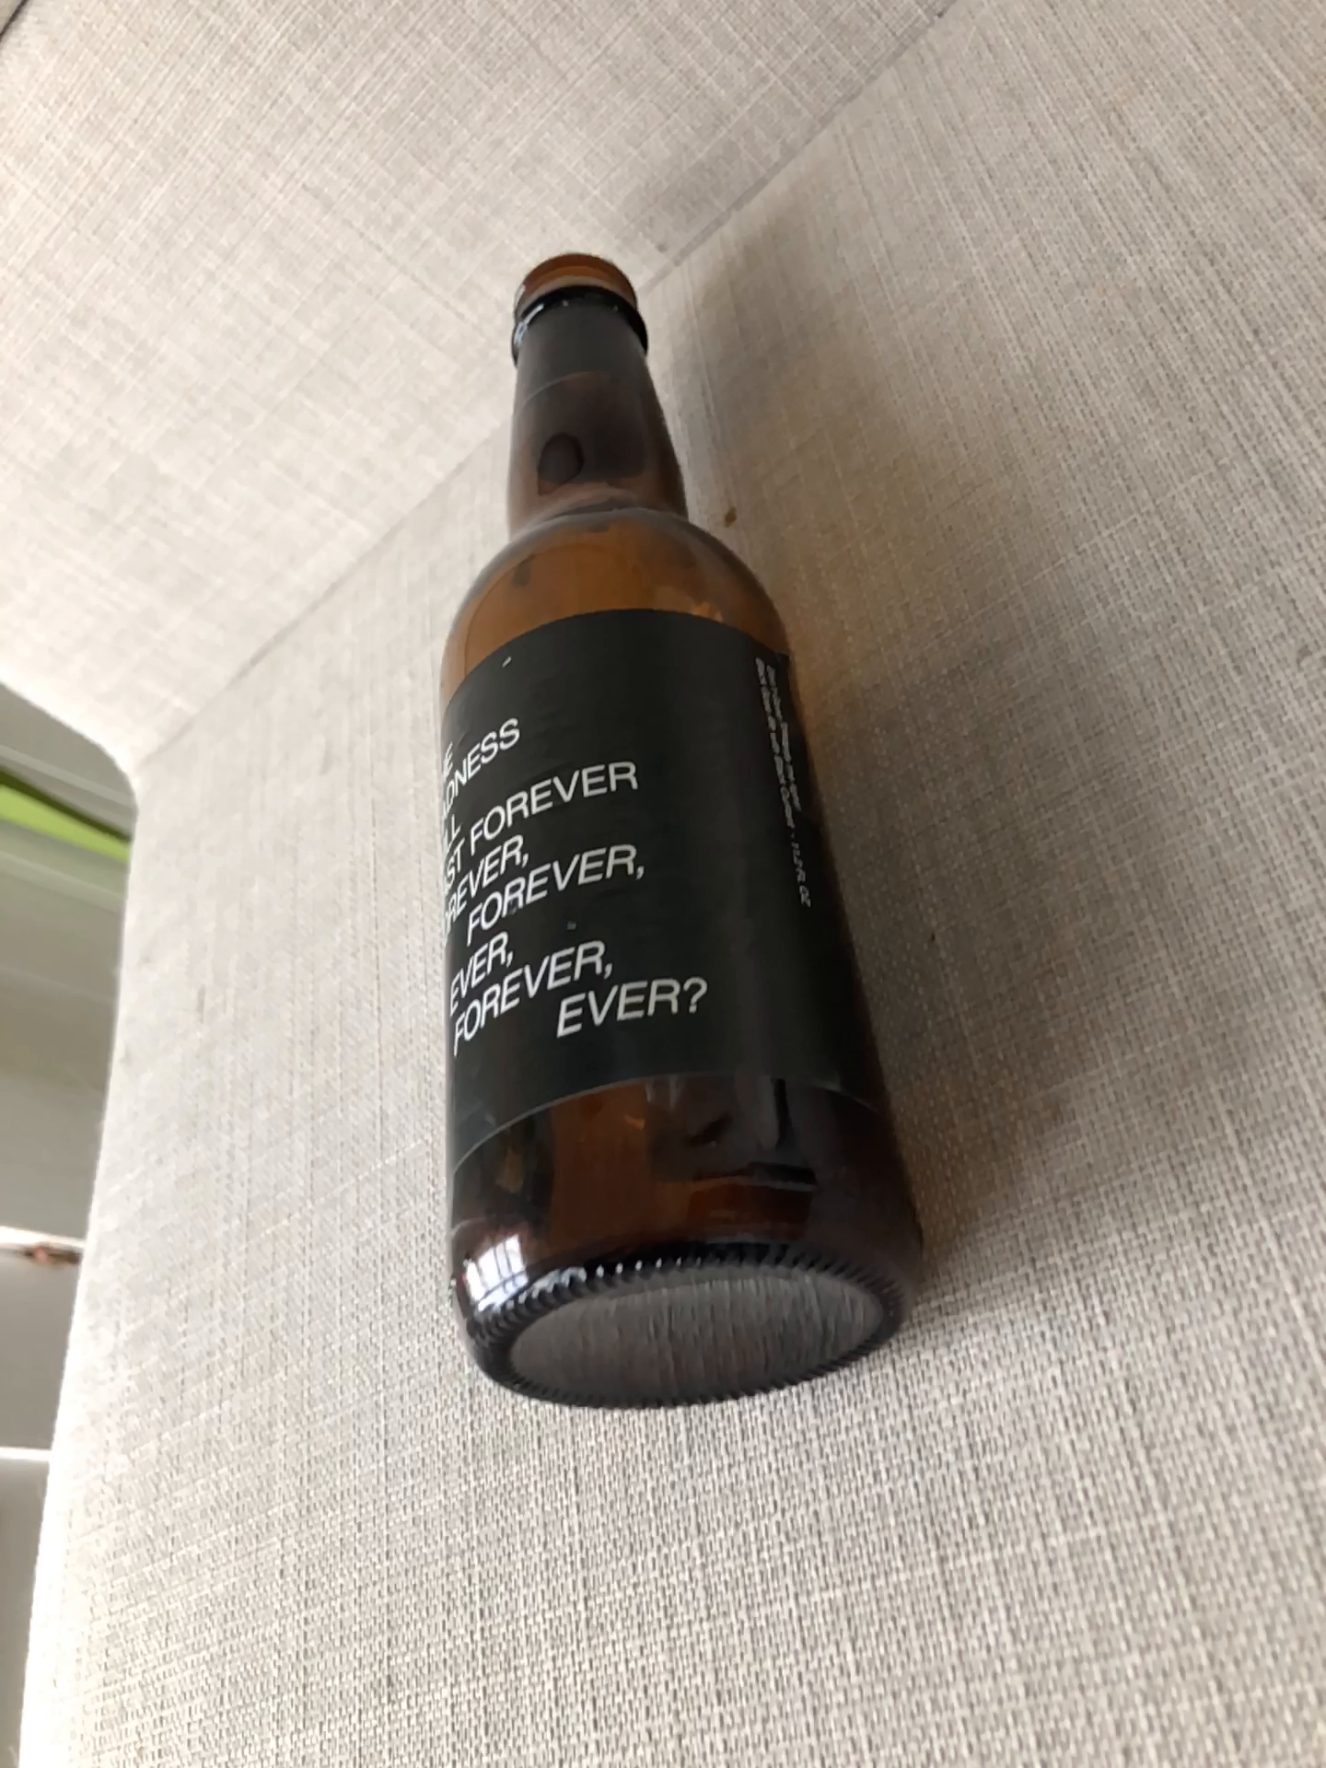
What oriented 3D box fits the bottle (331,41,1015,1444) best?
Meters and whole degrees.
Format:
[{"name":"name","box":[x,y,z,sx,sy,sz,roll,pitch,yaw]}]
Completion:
[{"name":"bottle","box":[-0.012,-0.040,0.250,0.060,0.060,0.240,-32,49,30]}]
